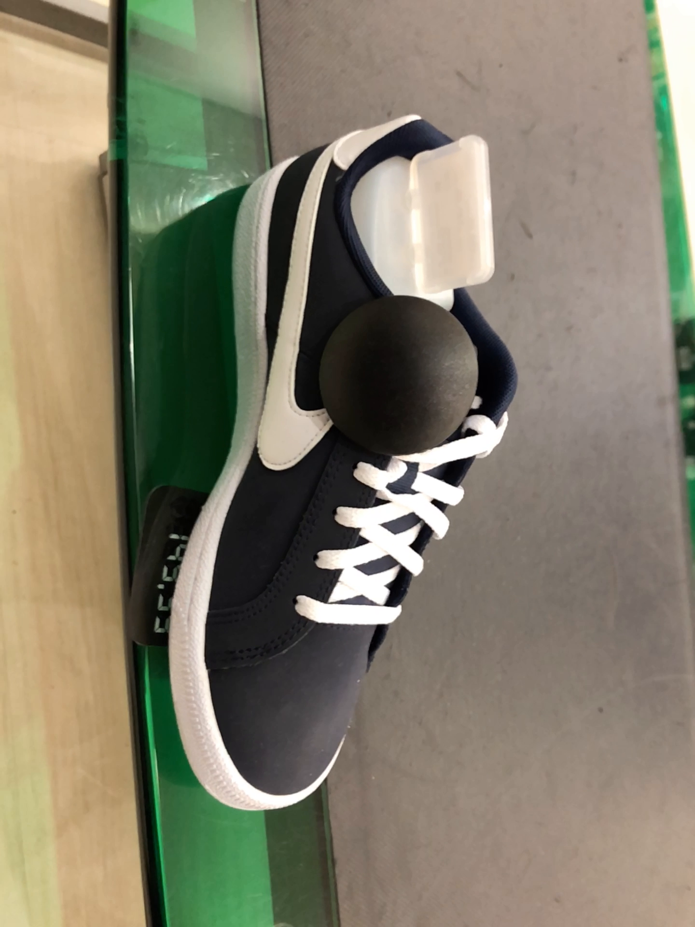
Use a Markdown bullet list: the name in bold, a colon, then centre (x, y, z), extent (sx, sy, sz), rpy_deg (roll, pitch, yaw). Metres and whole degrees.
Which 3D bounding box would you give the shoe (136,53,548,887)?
- **shoe**: centre (0.005, 0.003, 0.299), extent (0.111, 0.089, 0.250), rpy_deg (14, 76, -44)
